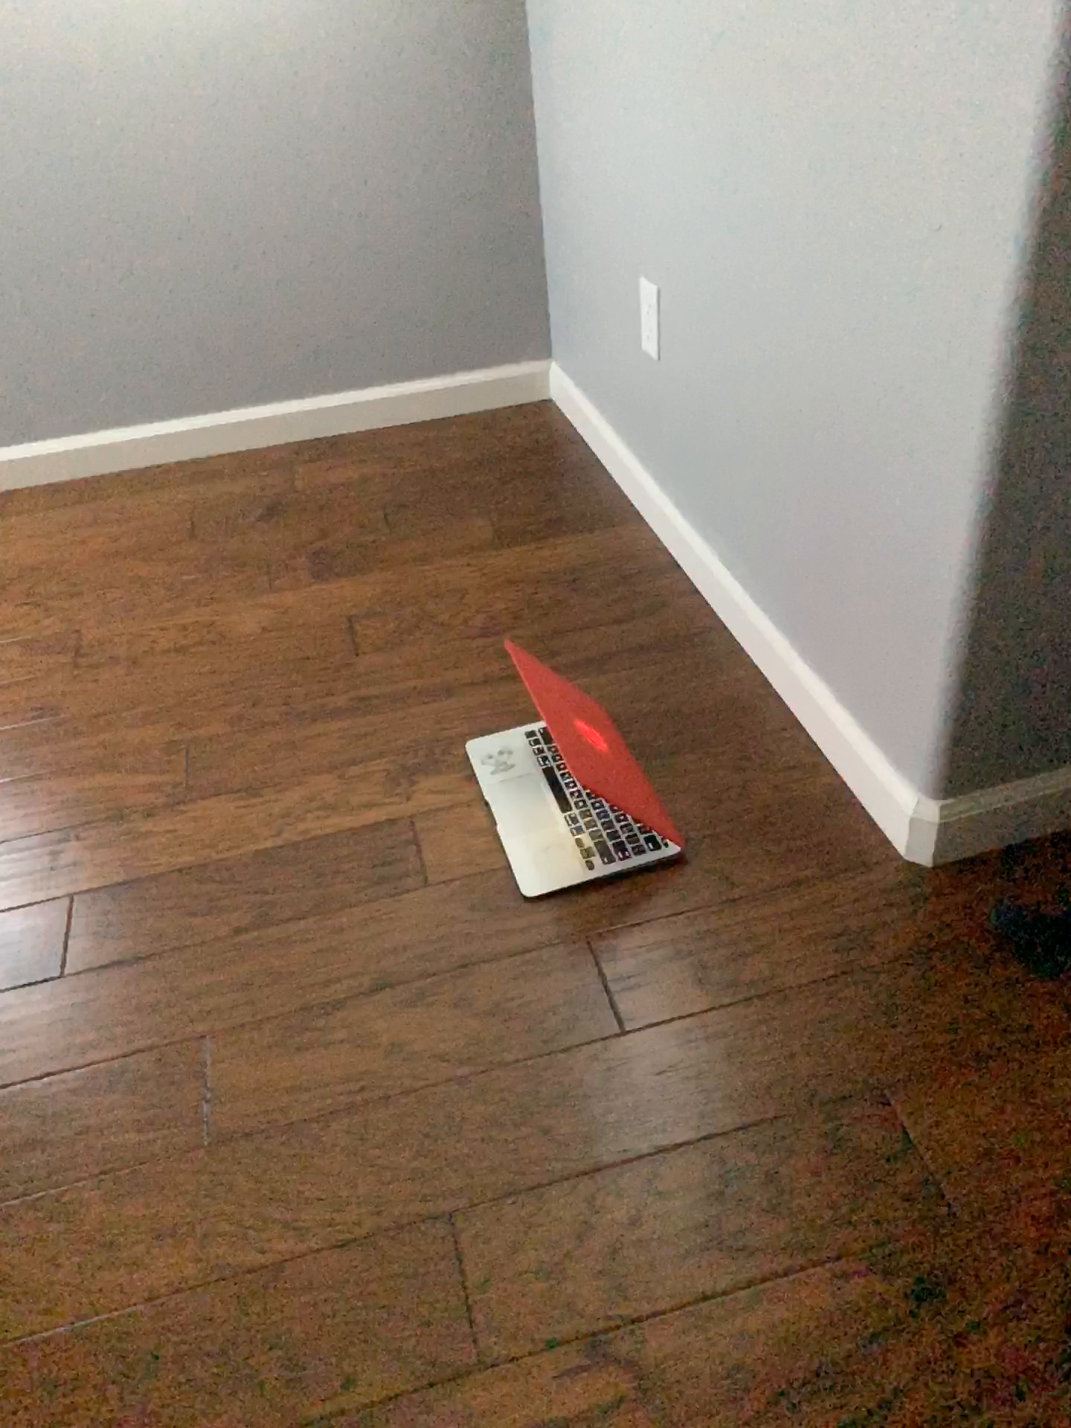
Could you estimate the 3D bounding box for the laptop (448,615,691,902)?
[{"bbox_3d":[0.034,0.041,1.289,0.197,0.139,0.303,-14,37,-10],"label":"laptop"}]
